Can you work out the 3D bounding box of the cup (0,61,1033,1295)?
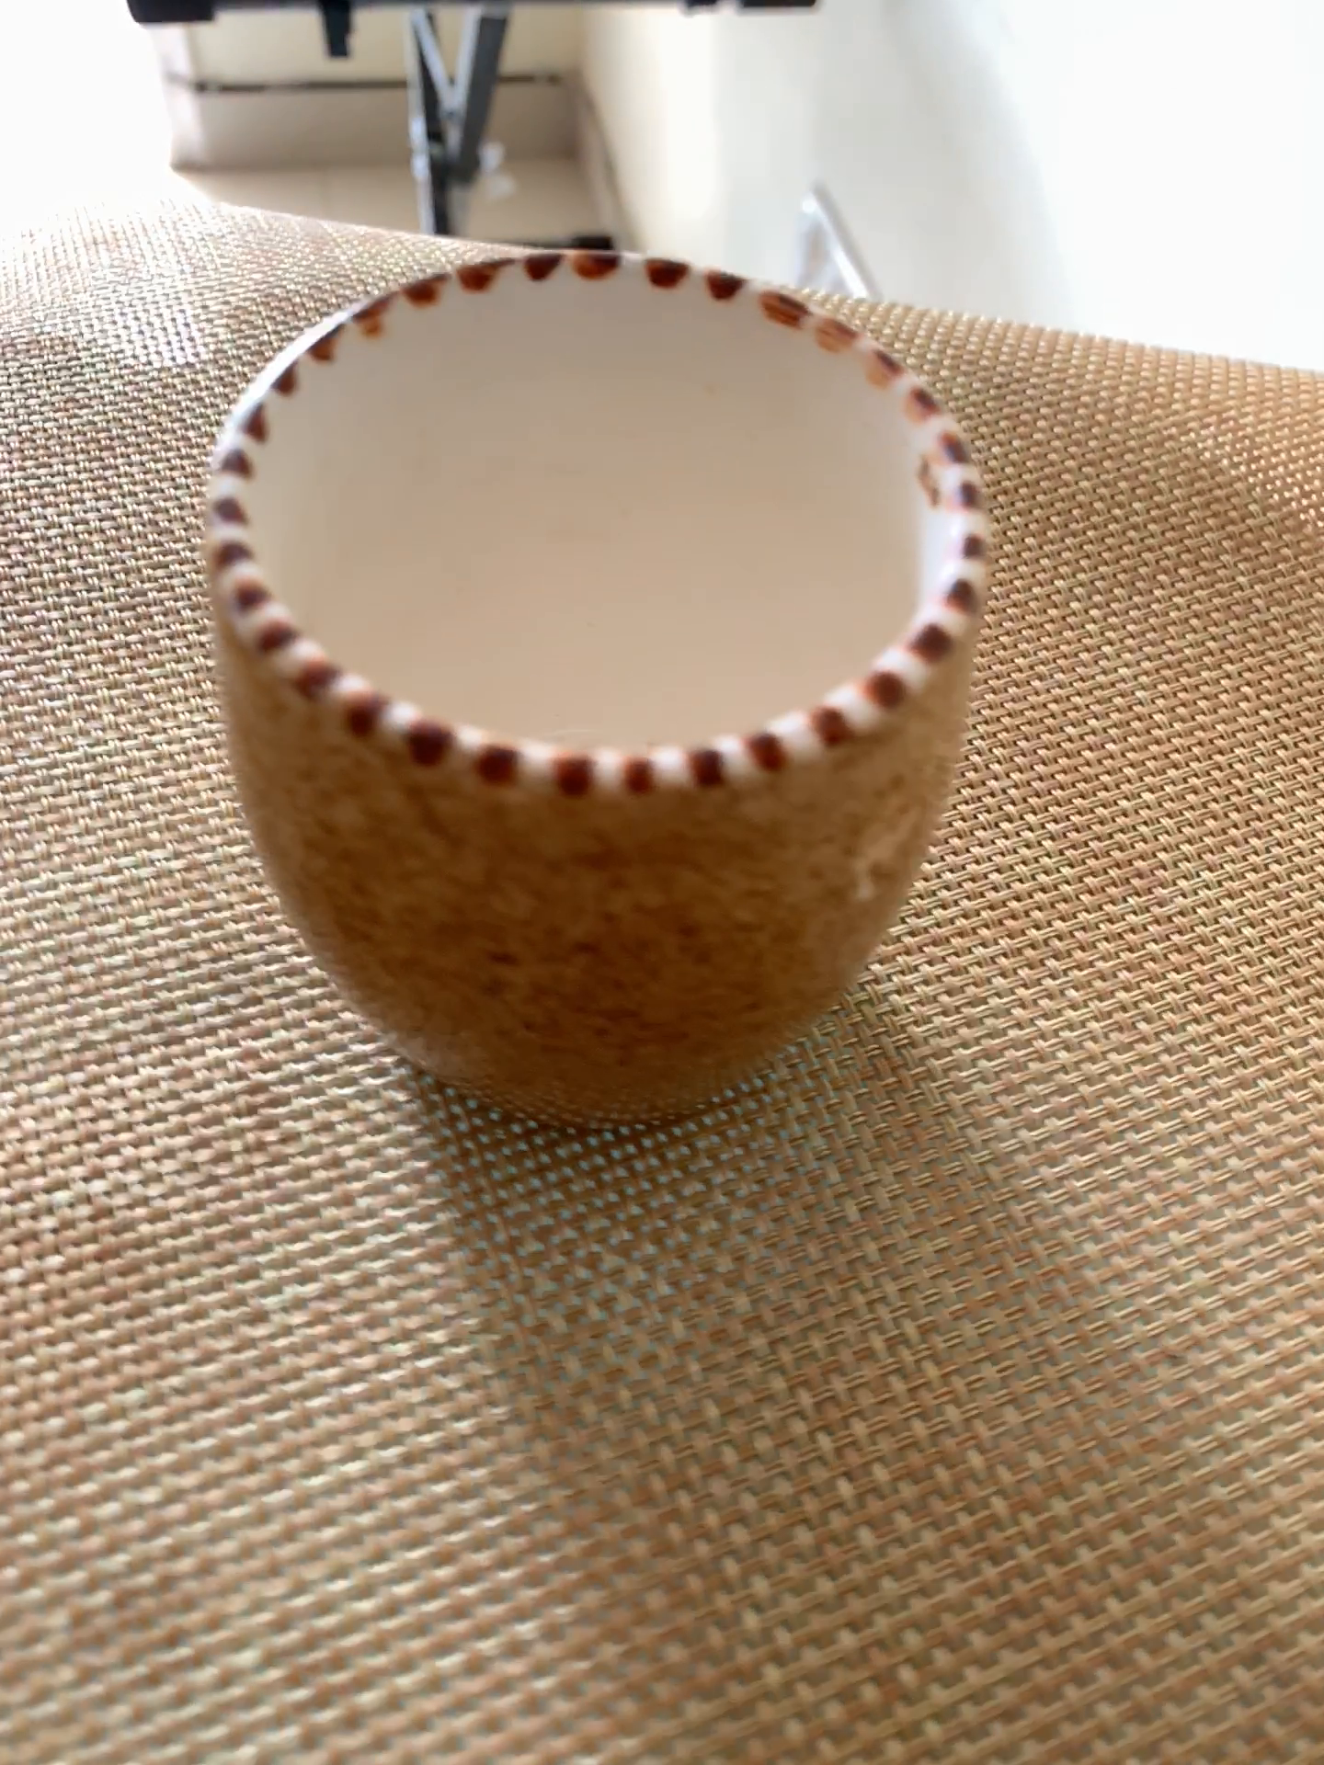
[{"bbox_3d":[-0.009,-0.021,0.142,0.070,0.070,0.091,12,54,4],"label":"cup"}]
